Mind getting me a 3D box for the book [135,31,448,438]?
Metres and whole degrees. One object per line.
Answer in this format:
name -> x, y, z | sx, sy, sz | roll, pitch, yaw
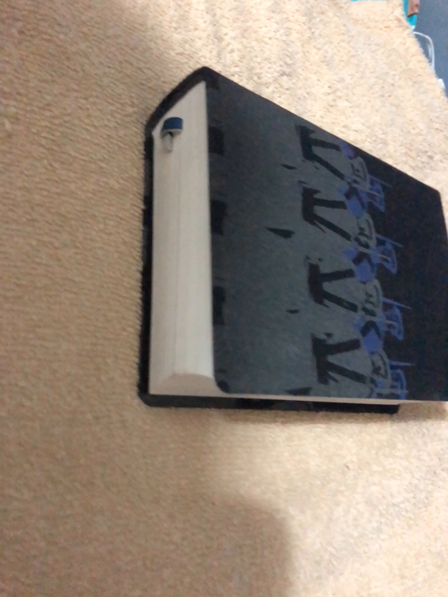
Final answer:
book -> 0.055, -0.009, 0.237 | 0.191, 0.050, 0.140 | 11, 68, -38
